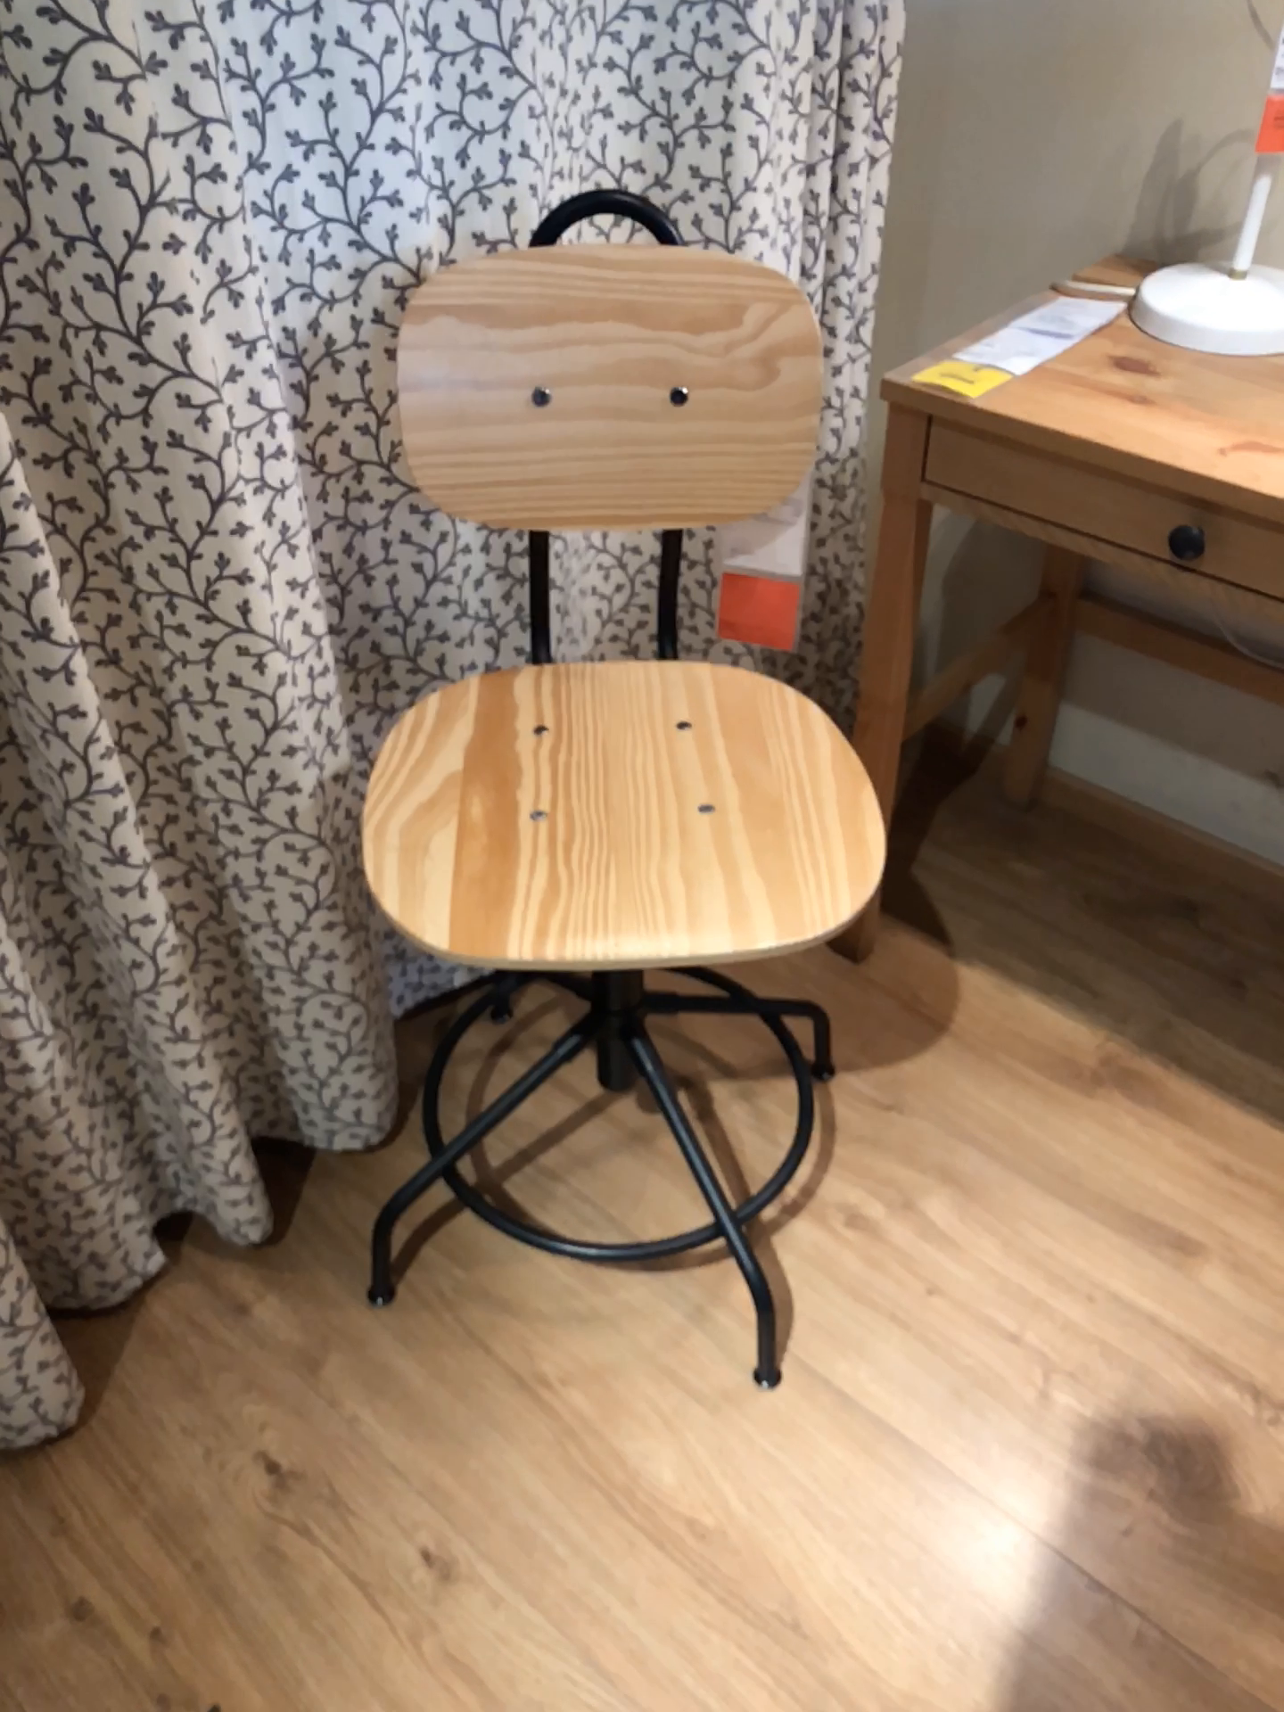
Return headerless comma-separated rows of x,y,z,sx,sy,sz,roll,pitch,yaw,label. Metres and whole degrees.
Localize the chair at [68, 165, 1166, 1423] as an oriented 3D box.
-0.023,-0.036,1.141,0.520,0.814,0.554,-3,40,-3,chair
